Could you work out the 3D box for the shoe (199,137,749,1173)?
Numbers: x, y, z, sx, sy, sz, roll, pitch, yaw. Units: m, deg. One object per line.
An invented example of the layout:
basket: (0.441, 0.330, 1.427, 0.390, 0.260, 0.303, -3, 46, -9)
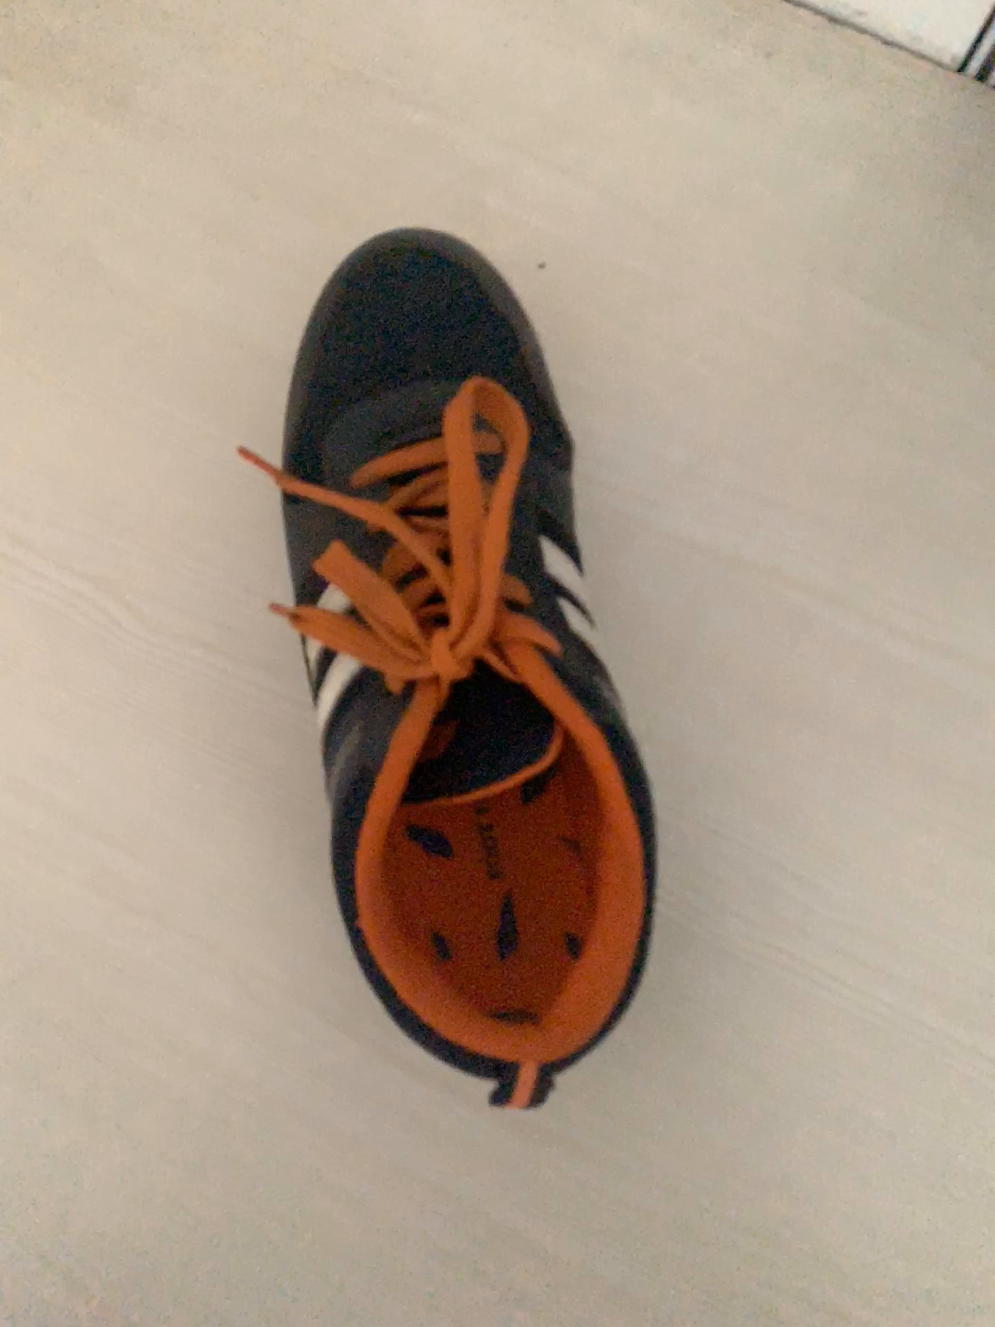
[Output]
shoe: (-0.011, -0.007, 0.290, 0.100, 0.080, 0.250, -9, 80, -1)
